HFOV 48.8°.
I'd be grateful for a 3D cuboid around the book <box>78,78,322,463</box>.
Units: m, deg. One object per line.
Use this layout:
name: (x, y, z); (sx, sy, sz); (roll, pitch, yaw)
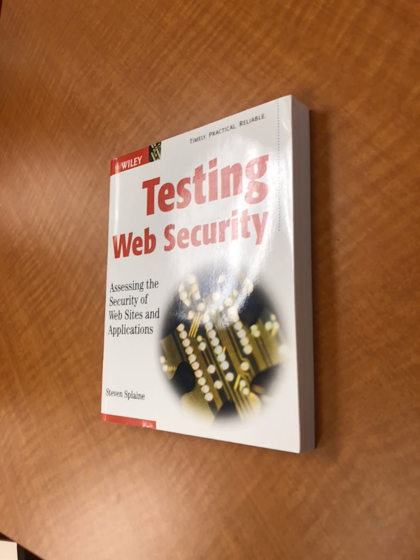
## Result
book: (-0.019, -0.003, 0.346); (0.201, 0.030, 0.230); (-5, 80, 38)
